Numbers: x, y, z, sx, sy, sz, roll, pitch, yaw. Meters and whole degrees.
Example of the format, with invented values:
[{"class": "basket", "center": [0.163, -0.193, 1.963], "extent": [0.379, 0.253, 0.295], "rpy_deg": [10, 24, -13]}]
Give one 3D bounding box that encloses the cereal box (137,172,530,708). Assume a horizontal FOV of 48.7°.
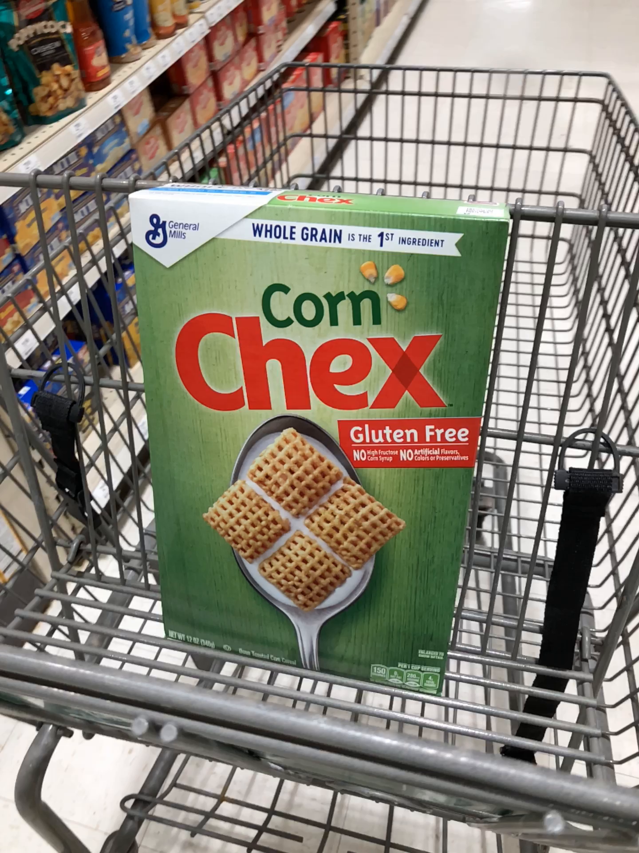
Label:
[{"class": "cereal box", "center": [0.004, 0.014, 0.438], "extent": [0.200, 0.310, 0.060], "rpy_deg": [8, 25, 13]}]
